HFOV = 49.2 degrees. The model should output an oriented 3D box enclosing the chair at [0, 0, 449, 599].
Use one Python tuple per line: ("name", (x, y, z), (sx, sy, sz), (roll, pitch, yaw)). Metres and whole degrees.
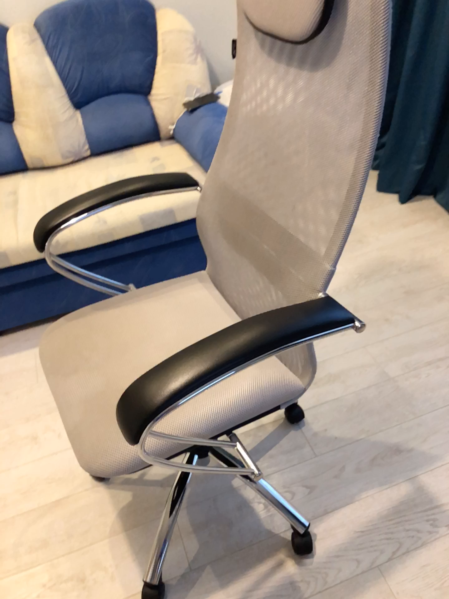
("chair", (-0.100, -0.035, 0.948), (0.691, 1.152, 0.684), (-18, 41, -14))
